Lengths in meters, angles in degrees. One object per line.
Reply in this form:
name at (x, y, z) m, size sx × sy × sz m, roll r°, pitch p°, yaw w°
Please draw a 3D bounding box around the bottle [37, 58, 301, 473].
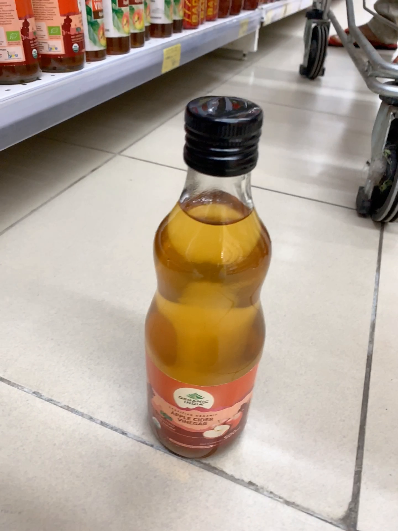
bottle at (-0.010, 0.016, 0.220) m, size 0.080 × 0.209 × 0.080 m, roll 2°, pitch 39°, yaw -2°
